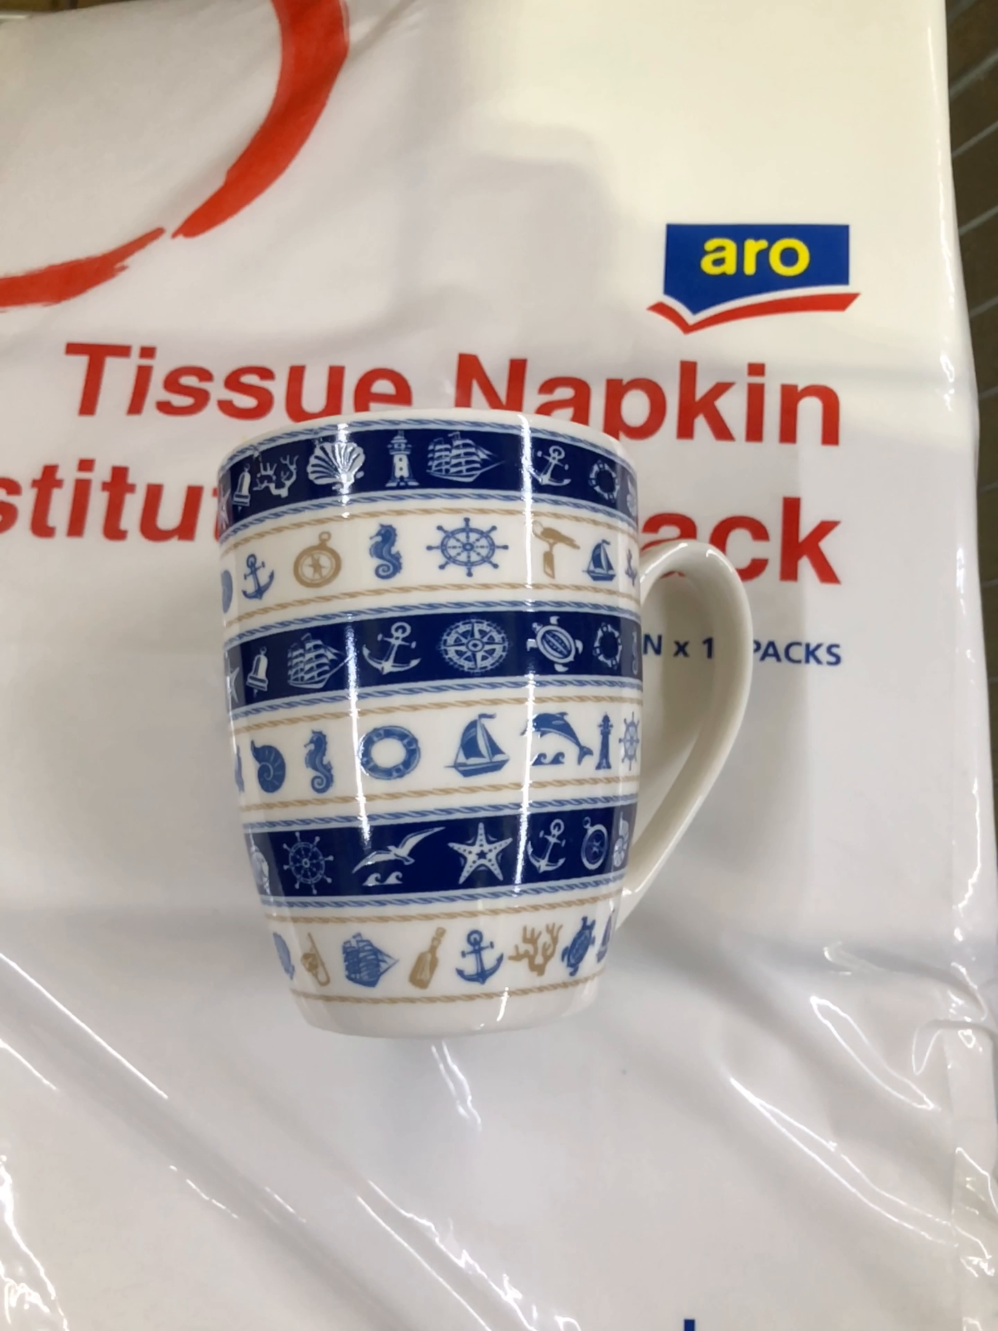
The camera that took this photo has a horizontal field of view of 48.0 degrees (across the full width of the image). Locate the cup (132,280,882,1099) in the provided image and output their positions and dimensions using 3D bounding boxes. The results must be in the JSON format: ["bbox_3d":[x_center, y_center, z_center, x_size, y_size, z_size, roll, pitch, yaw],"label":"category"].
[{"bbox_3d":[0.003,0.008,0.219,0.120,0.080,0.110,7,79,-41],"label":"cup"}]
